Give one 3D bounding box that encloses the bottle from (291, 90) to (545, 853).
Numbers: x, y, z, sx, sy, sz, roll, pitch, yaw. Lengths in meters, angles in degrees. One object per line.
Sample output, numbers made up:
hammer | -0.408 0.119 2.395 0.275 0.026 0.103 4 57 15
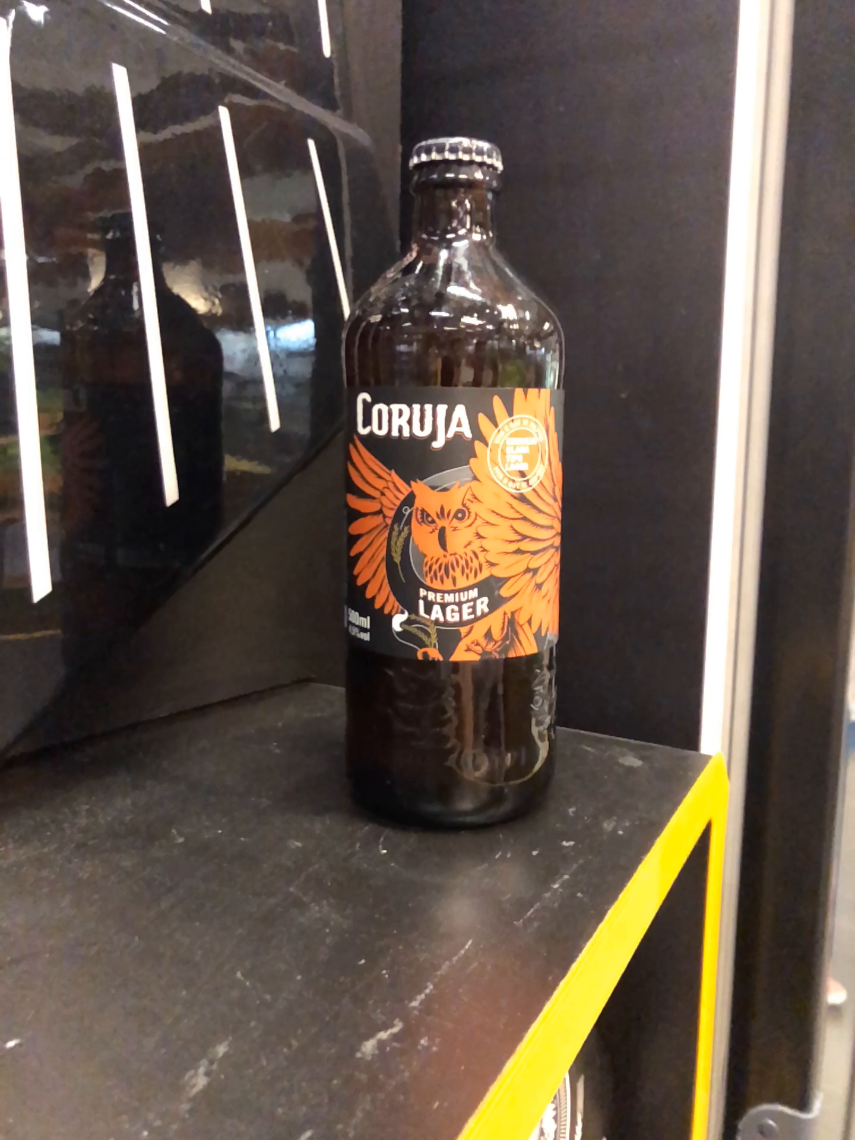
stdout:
bottle | -0.001 -0.028 0.312 0.070 0.219 0.070 0 8 0
